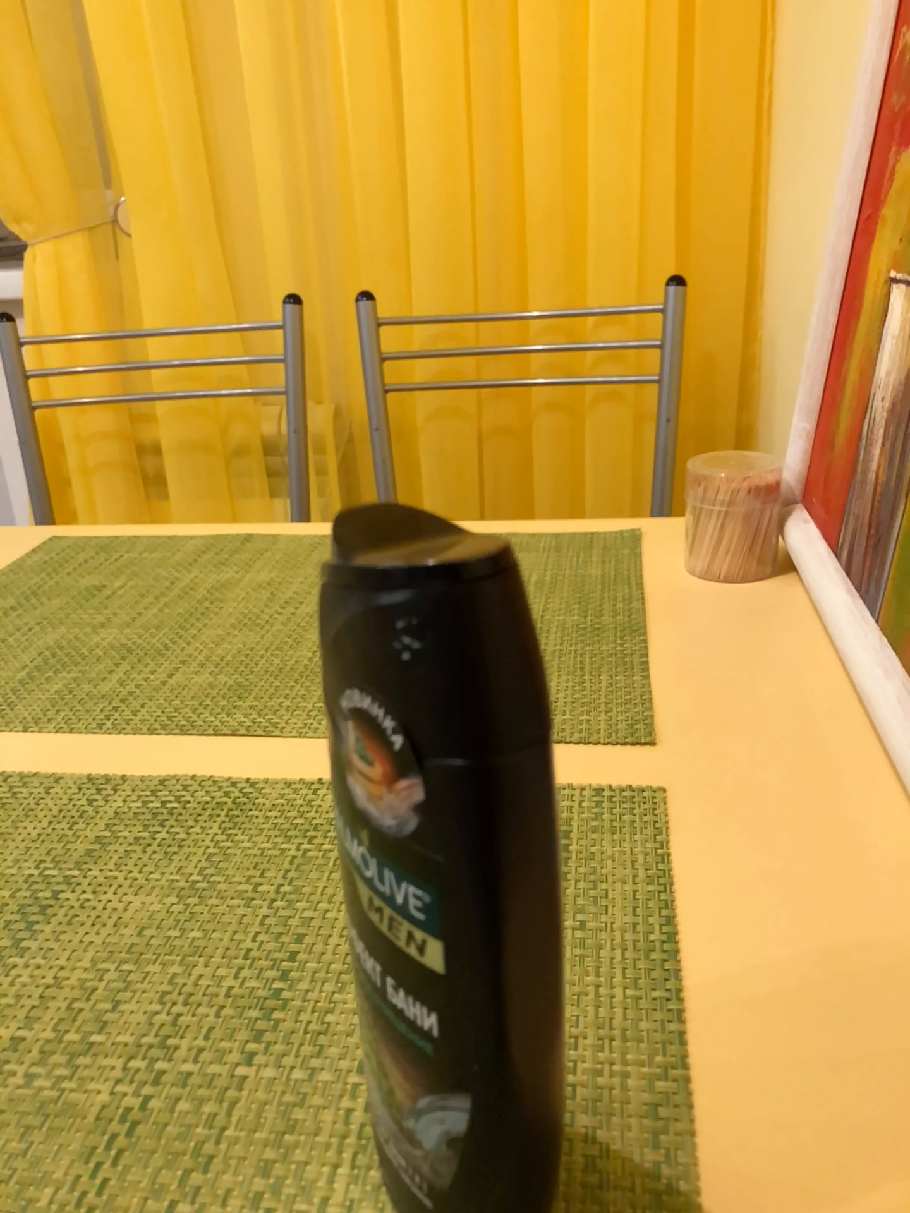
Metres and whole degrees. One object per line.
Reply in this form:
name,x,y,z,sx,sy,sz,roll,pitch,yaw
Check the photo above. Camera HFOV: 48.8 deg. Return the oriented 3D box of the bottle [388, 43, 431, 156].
bottle,-0.148,-1.662,3.296,0.099,0.318,0.107,-3,22,1
